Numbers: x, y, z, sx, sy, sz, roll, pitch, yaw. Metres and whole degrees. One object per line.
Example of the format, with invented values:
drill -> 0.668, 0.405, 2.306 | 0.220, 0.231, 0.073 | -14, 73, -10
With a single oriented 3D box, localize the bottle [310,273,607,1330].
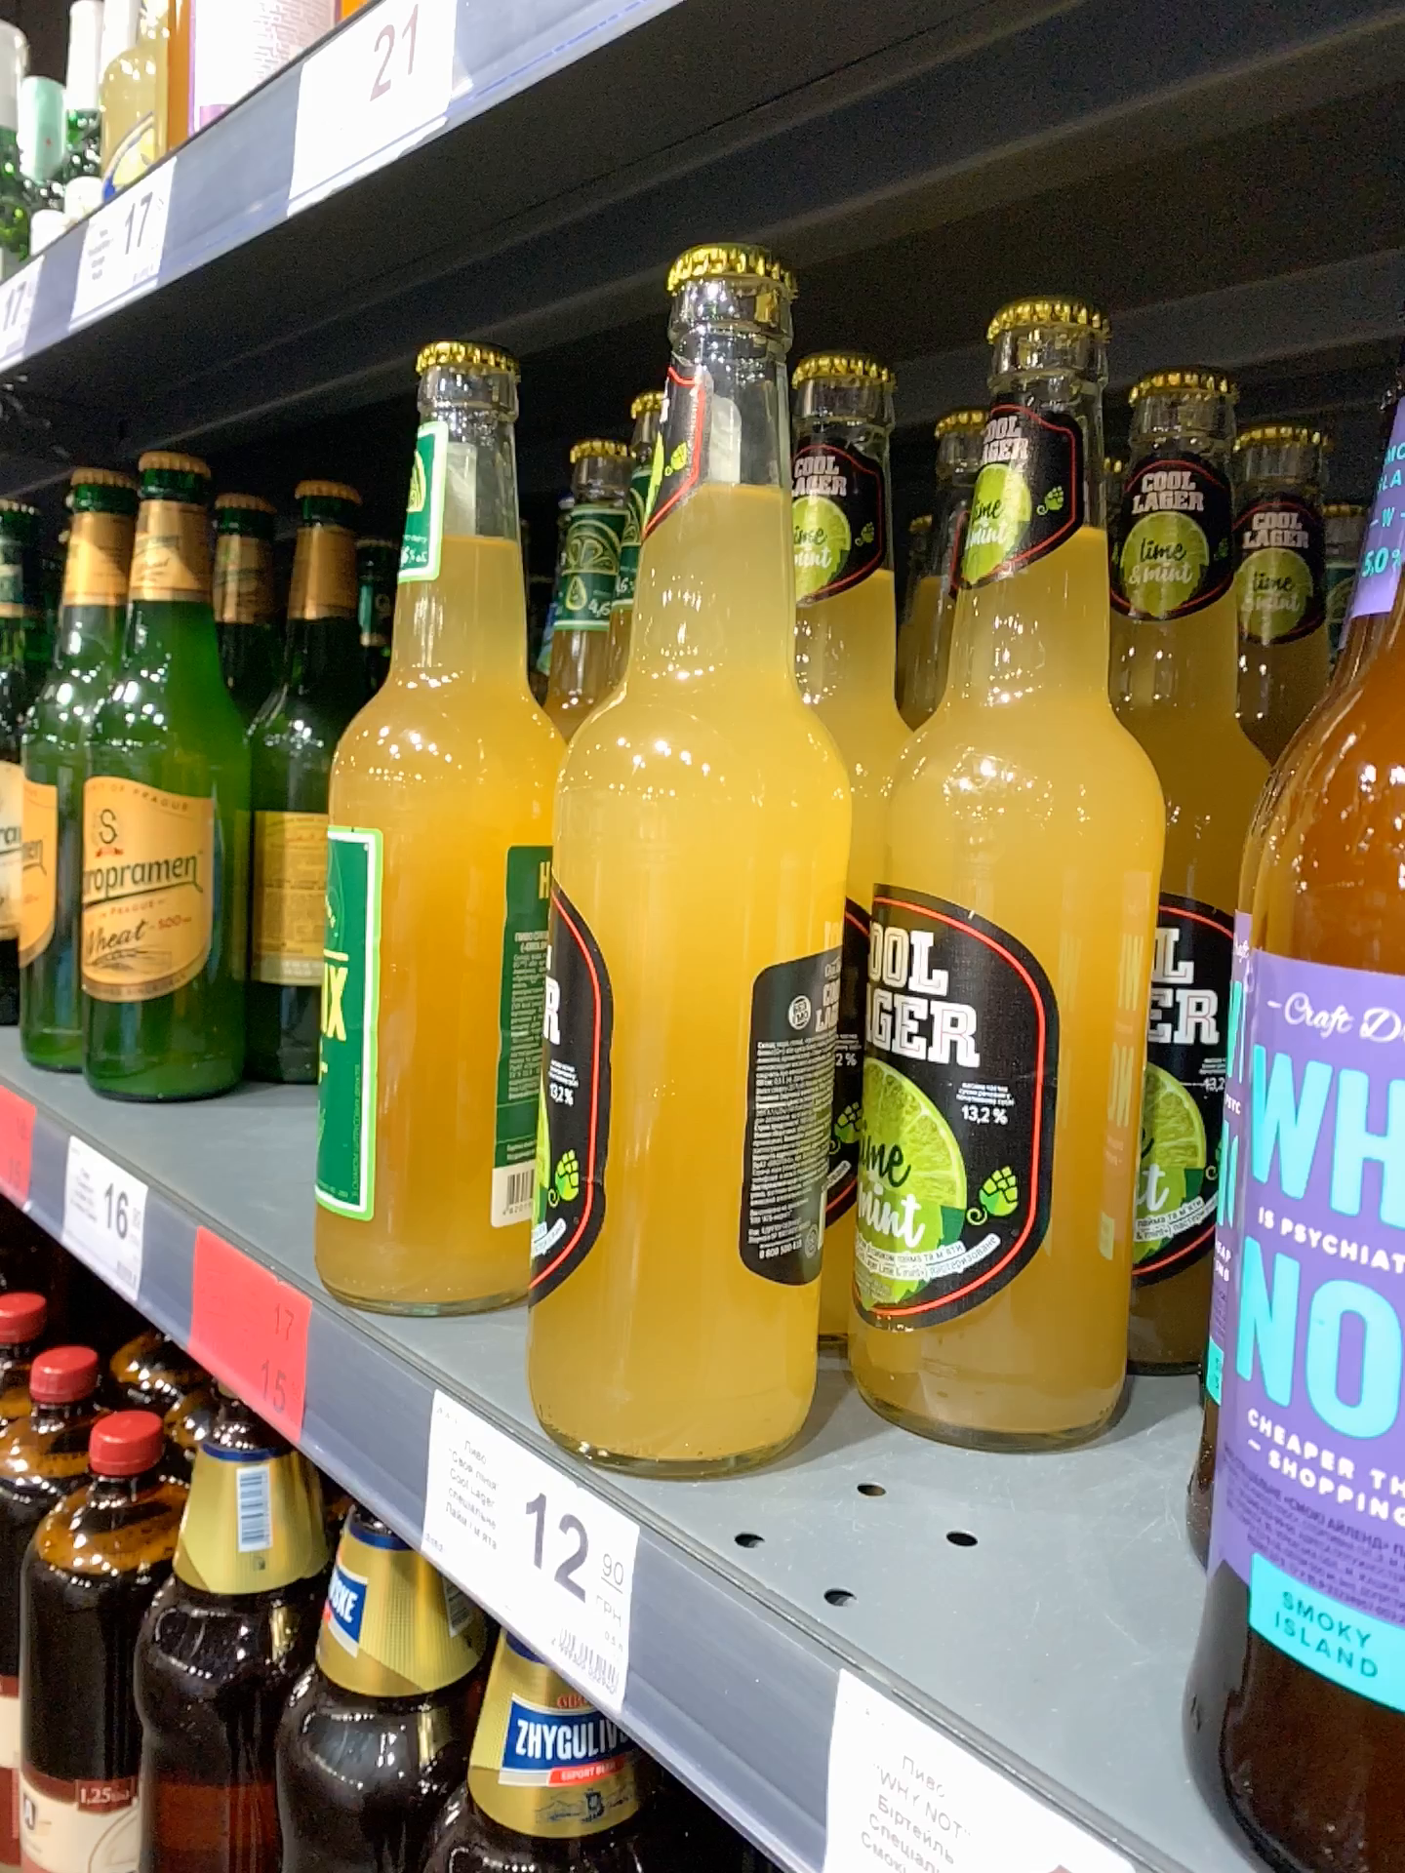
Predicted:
bottle -> -0.064, -0.034, 0.400 | 0.064, 0.259, 0.078 | 2, 5, -1

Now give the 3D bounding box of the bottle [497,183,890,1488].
bottle -> -0.003, -0.017, 0.307 | 0.065, 0.244, 0.063 | 2, 5, 0

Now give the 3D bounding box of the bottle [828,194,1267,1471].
bottle -> 0.072, -0.019, 0.330 | 0.069, 0.259, 0.063 | 2, 5, 0
